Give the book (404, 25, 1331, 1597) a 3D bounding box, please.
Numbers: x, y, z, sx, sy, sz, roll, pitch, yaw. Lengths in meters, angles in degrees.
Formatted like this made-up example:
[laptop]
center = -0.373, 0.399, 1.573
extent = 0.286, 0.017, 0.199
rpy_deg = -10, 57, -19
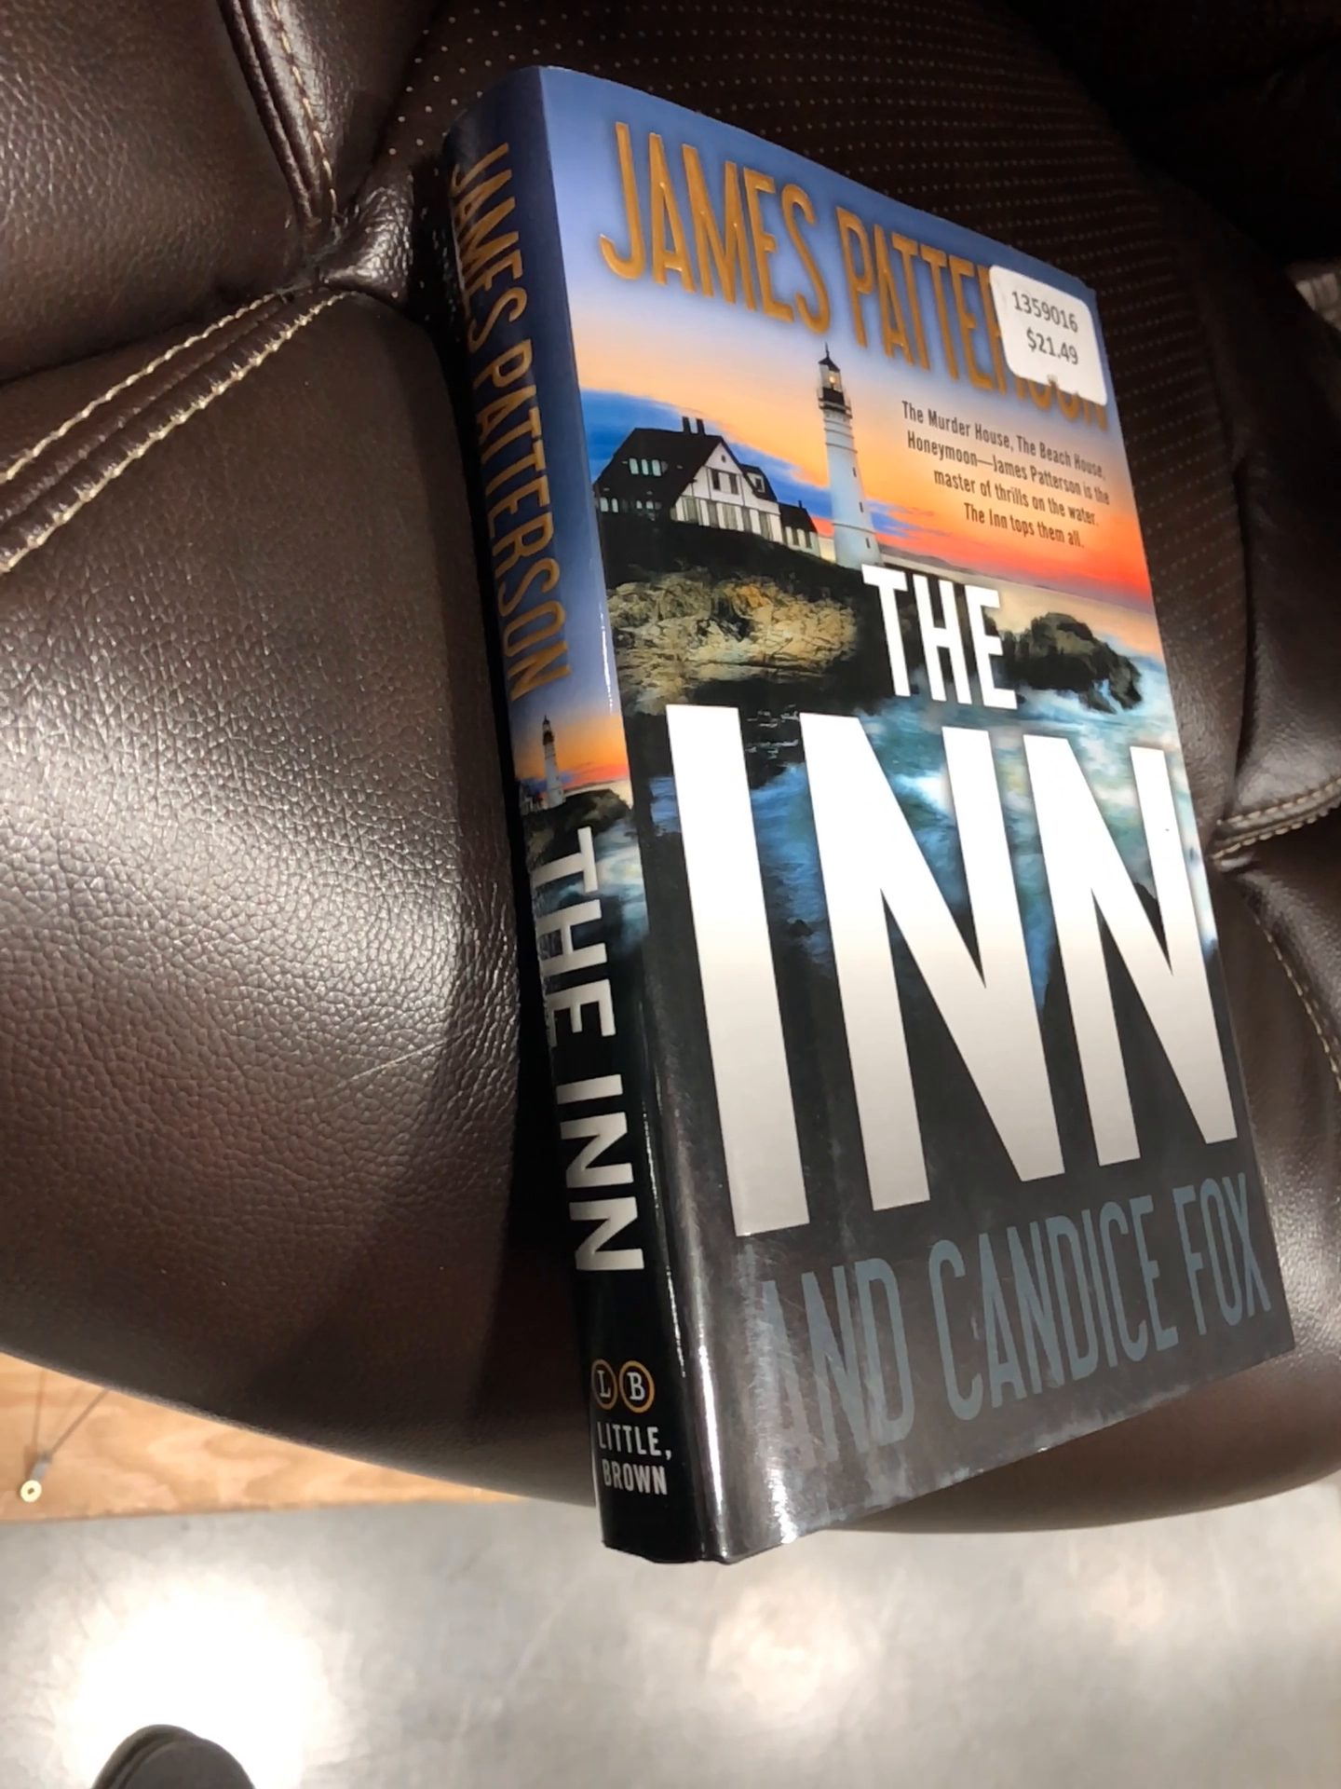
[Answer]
[book]
center = 0.045, -0.019, 0.300
extent = 0.171, 0.040, 0.250
rpy_deg = 0, 78, -38
